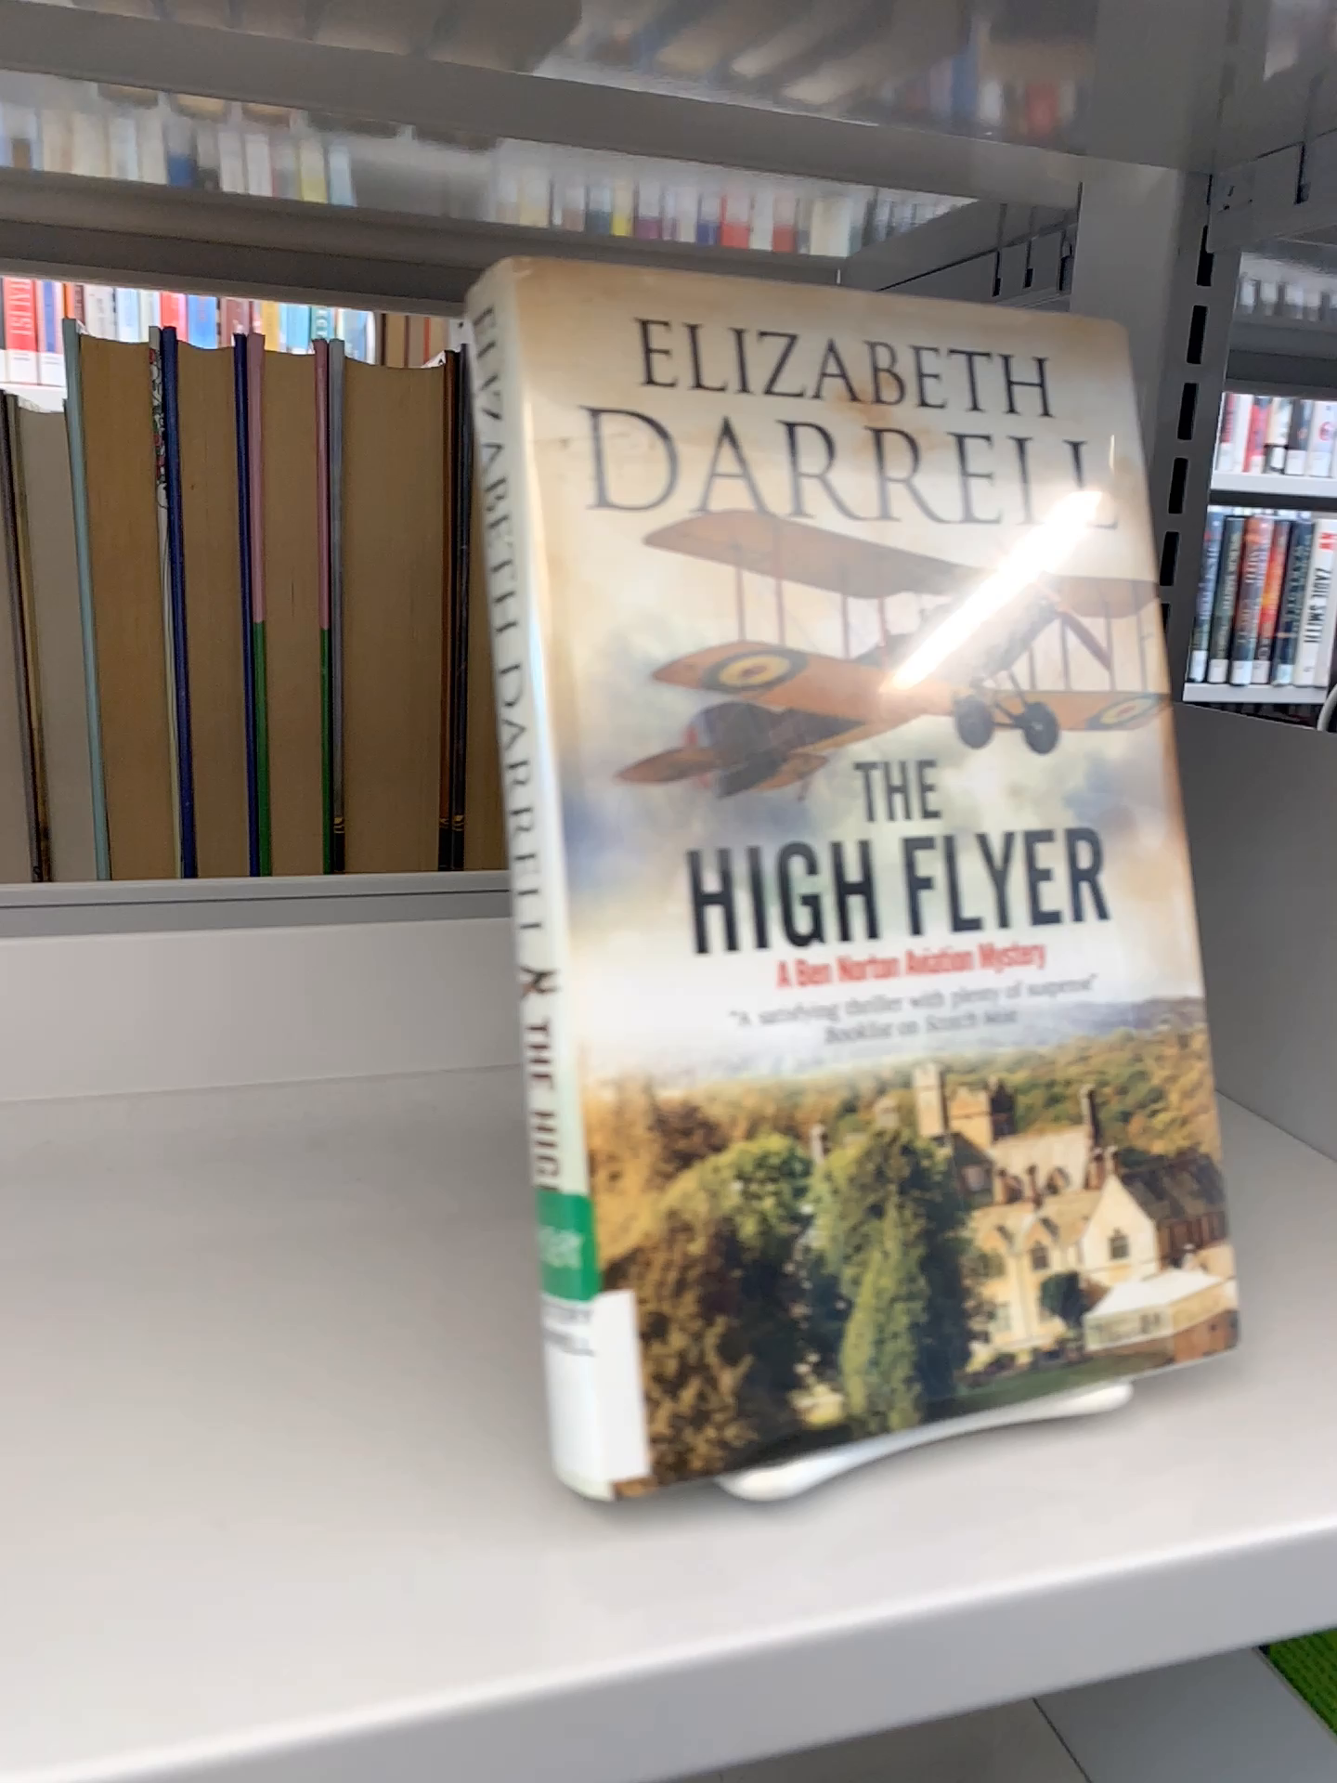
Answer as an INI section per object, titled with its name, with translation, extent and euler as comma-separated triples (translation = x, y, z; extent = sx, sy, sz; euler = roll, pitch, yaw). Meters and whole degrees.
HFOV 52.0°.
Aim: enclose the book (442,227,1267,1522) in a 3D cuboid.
[book]
translation = 0.040, -0.009, 0.271
extent = 0.151, 0.214, 0.031
euler = -3, -3, -24
